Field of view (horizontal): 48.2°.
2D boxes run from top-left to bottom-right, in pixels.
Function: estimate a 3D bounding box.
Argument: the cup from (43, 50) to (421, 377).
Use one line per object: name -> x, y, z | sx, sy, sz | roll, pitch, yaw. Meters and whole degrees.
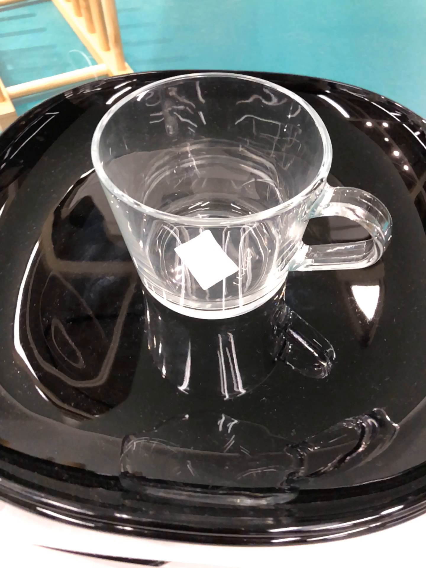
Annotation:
cup -> 0.017, -0.043, 0.246 | 0.140, 0.080, 0.120 | 15, 53, 13
